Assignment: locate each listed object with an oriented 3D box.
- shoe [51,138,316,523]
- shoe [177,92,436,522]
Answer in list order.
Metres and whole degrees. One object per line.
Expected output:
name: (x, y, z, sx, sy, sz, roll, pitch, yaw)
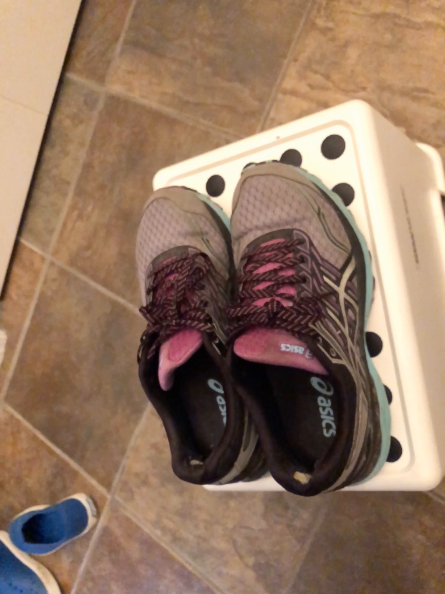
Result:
shoe: (-0.030, 0.027, 0.412, 0.110, 0.120, 0.260, -20, 81, 27)
shoe: (0.067, 0.011, 0.372, 0.110, 0.120, 0.260, -14, 84, 28)
